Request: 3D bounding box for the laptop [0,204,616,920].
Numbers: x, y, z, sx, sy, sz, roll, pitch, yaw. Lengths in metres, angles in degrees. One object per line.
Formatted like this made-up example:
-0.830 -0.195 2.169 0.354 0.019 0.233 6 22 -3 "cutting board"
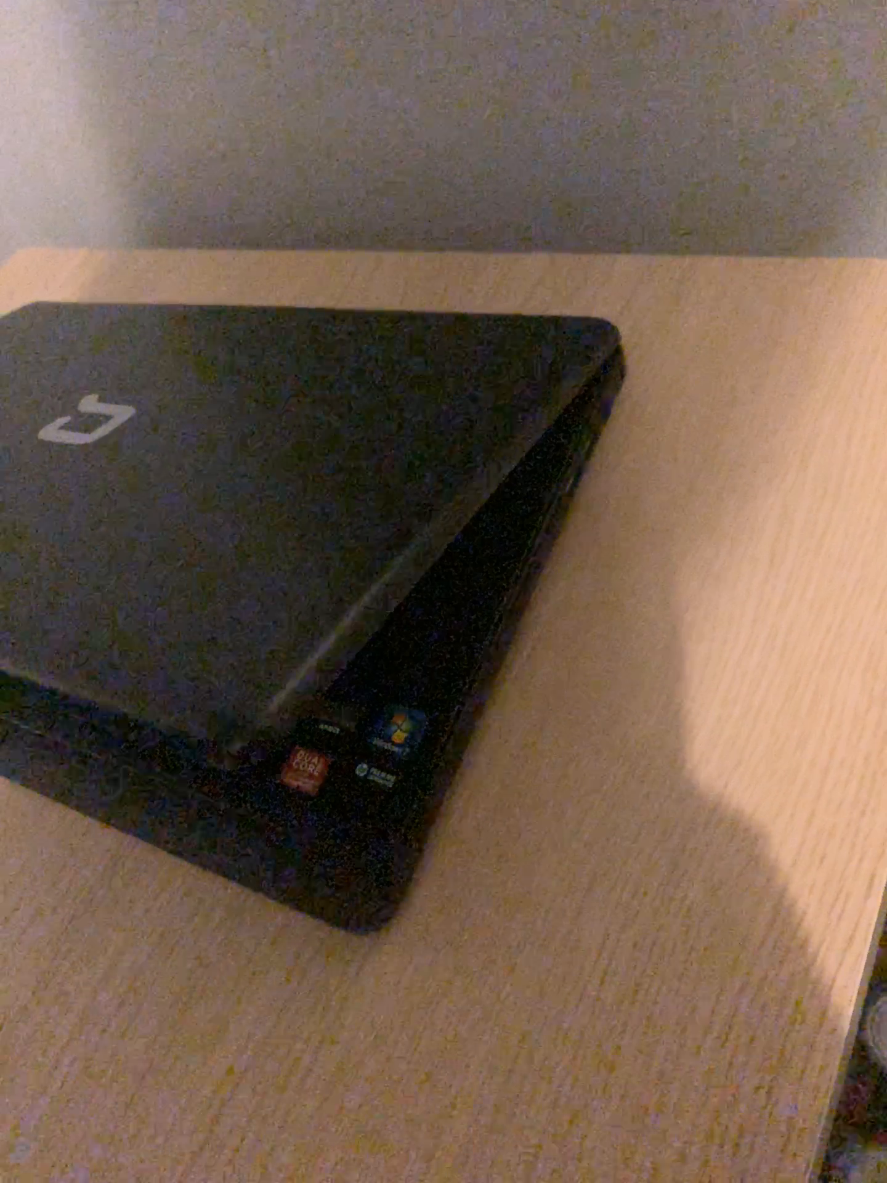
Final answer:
-0.146 -0.046 0.387 0.375 0.064 0.224 11 66 31 "laptop"
